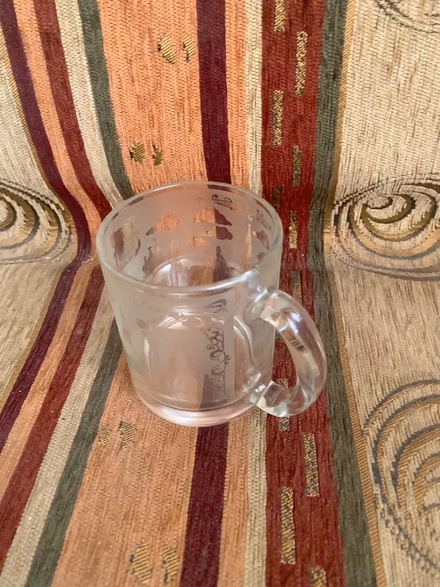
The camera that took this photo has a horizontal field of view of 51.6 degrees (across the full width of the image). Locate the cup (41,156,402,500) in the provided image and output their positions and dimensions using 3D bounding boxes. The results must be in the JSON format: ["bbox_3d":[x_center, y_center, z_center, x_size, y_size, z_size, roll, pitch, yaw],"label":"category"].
[{"bbox_3d":[0.002,0.007,0.208,0.115,0.086,0.084,24,47,27],"label":"cup"}]
